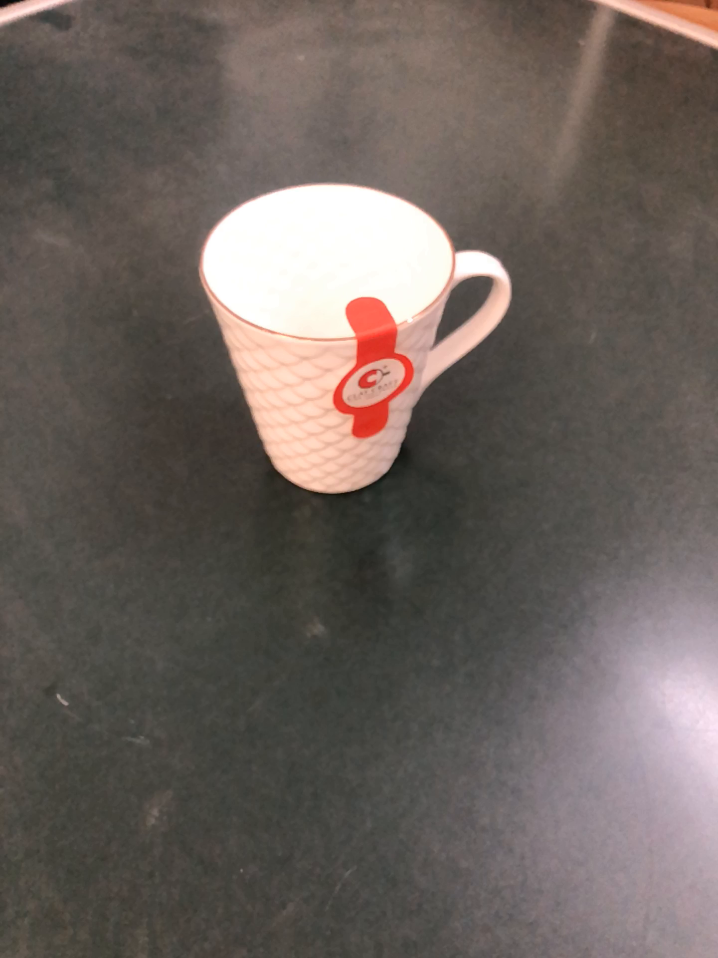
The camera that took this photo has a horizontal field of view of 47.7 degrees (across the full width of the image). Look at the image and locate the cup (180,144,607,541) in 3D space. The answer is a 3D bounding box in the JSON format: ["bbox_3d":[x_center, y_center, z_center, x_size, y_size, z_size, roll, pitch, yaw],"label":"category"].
[{"bbox_3d":[0.009,-0.052,0.306,0.120,0.090,0.080,-18,54,-14],"label":"cup"}]
